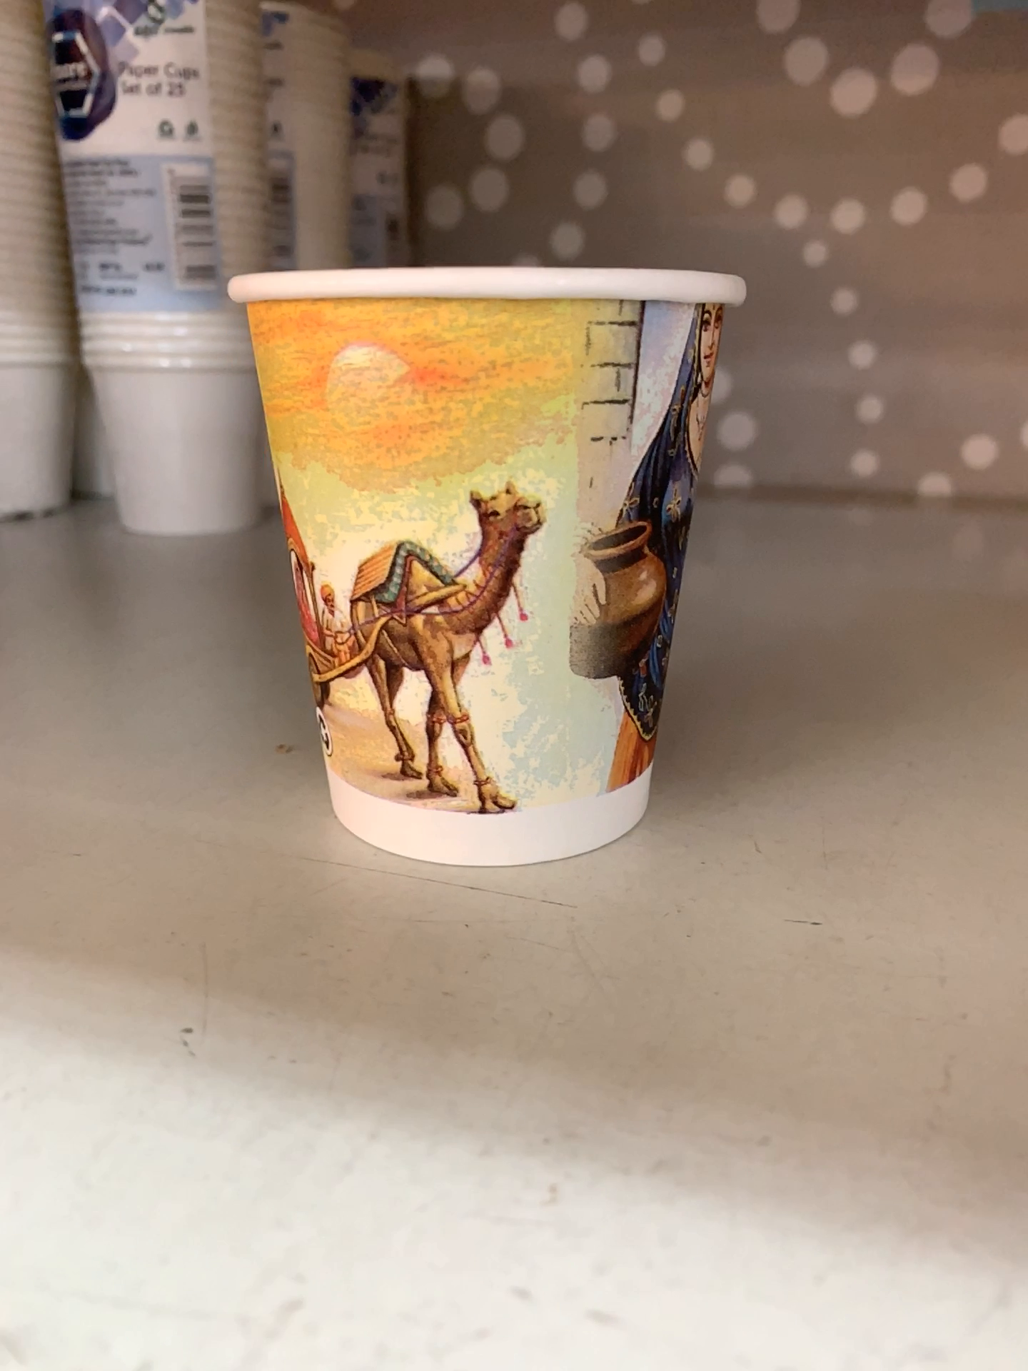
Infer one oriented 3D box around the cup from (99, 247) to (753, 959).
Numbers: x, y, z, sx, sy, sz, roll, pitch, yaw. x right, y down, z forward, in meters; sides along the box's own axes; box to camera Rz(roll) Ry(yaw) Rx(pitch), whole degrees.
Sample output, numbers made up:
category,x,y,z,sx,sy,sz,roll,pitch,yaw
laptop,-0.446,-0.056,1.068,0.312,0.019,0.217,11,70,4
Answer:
category,x,y,z,sx,sy,sz,roll,pitch,yaw
cup,-0.005,-0.019,0.159,0.070,0.080,0.070,1,18,0
